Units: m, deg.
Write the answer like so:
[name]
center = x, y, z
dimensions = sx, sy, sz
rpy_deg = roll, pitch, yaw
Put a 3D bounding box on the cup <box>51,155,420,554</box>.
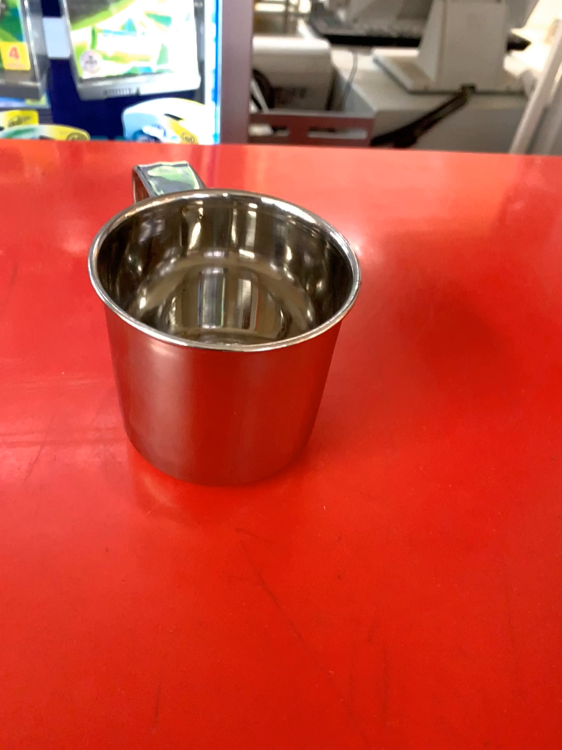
[cup]
center = -0.024, -0.015, 0.208
dimensions = 0.080, 0.069, 0.111
rpy_deg = -14, 48, -21
